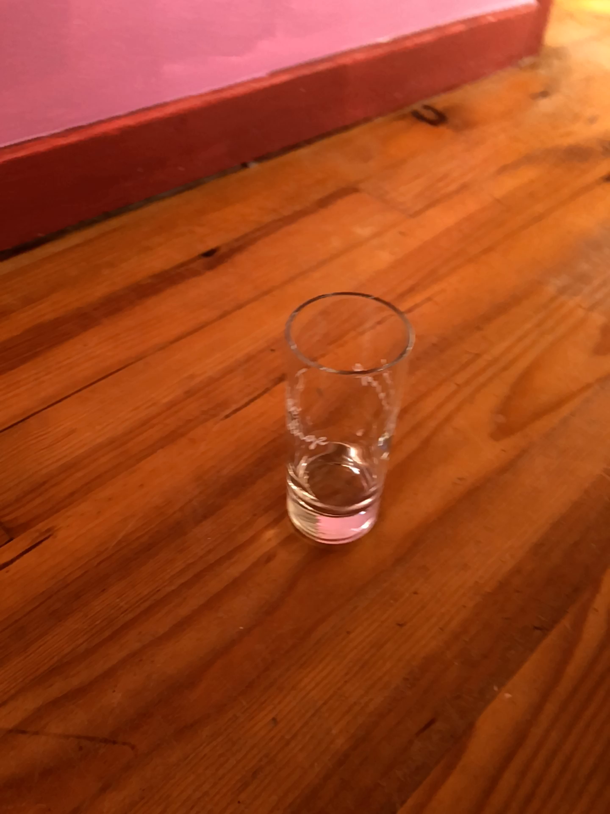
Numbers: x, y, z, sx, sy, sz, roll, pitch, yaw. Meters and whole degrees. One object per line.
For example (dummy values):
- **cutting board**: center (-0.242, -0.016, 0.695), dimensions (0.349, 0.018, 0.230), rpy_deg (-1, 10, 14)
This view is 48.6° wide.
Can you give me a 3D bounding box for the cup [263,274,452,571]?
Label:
- **cup**: center (0.018, 0.011, 0.315), dimensions (0.056, 0.124, 0.056), rpy_deg (1, 46, -1)
